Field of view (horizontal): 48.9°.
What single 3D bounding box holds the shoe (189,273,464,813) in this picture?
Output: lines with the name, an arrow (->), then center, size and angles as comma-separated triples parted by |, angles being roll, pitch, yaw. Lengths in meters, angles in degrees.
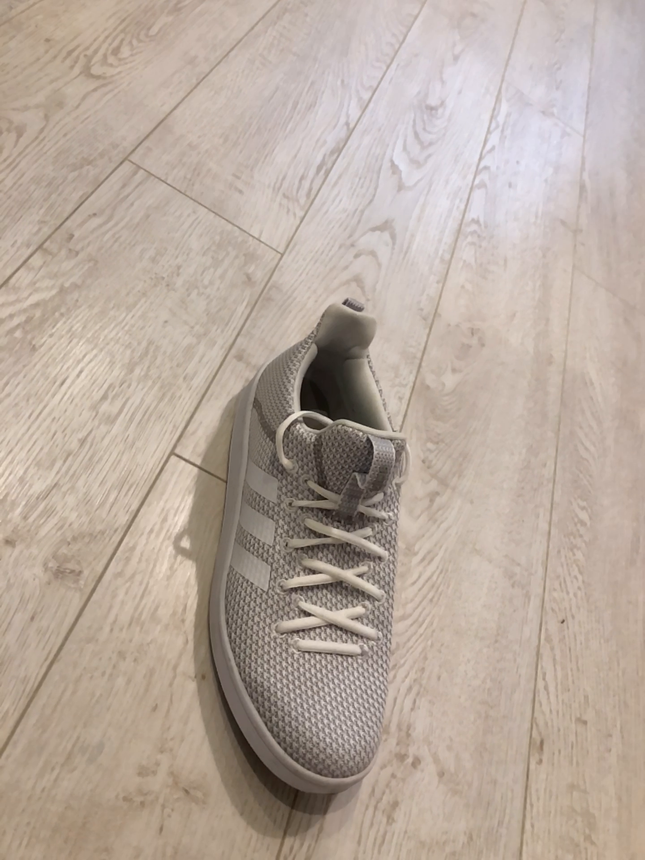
shoe -> -0.013, 0.060, 0.431 | 0.100, 0.109, 0.291 | 11, 55, -24
